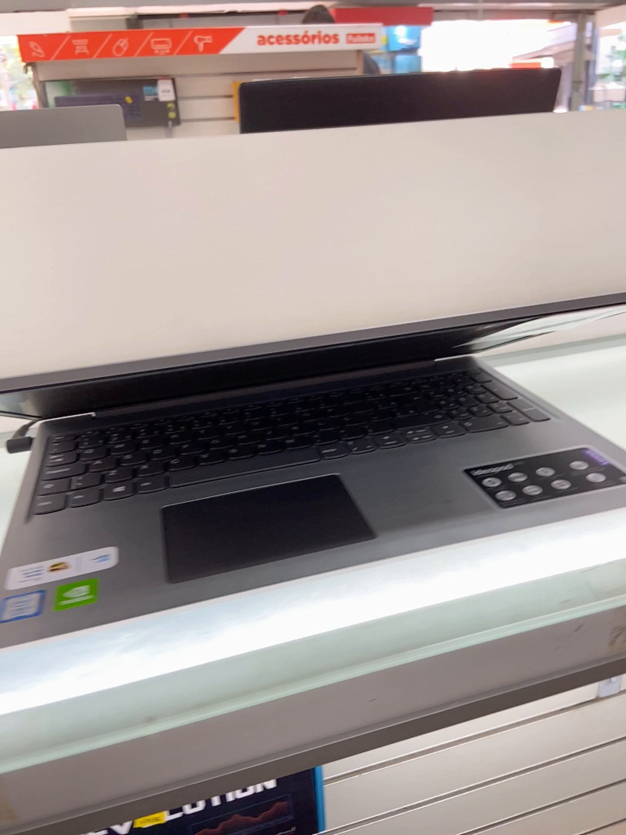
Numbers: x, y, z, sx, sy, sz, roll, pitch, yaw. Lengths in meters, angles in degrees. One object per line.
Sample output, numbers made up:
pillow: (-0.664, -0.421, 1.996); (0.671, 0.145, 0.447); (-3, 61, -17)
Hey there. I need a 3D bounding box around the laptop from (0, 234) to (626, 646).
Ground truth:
laptop: (-0.002, -0.026, 0.395); (0.353, 0.104, 0.240); (-9, 25, -13)
